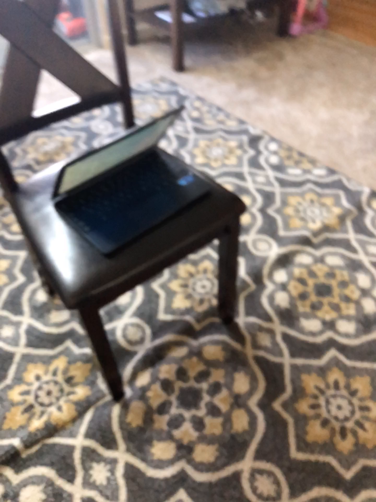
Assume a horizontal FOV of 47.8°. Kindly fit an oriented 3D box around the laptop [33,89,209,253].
[{"bbox_3d":[-0.120,-0.168,0.836,0.263,0.155,0.192,-34,54,-27],"label":"laptop"}]
